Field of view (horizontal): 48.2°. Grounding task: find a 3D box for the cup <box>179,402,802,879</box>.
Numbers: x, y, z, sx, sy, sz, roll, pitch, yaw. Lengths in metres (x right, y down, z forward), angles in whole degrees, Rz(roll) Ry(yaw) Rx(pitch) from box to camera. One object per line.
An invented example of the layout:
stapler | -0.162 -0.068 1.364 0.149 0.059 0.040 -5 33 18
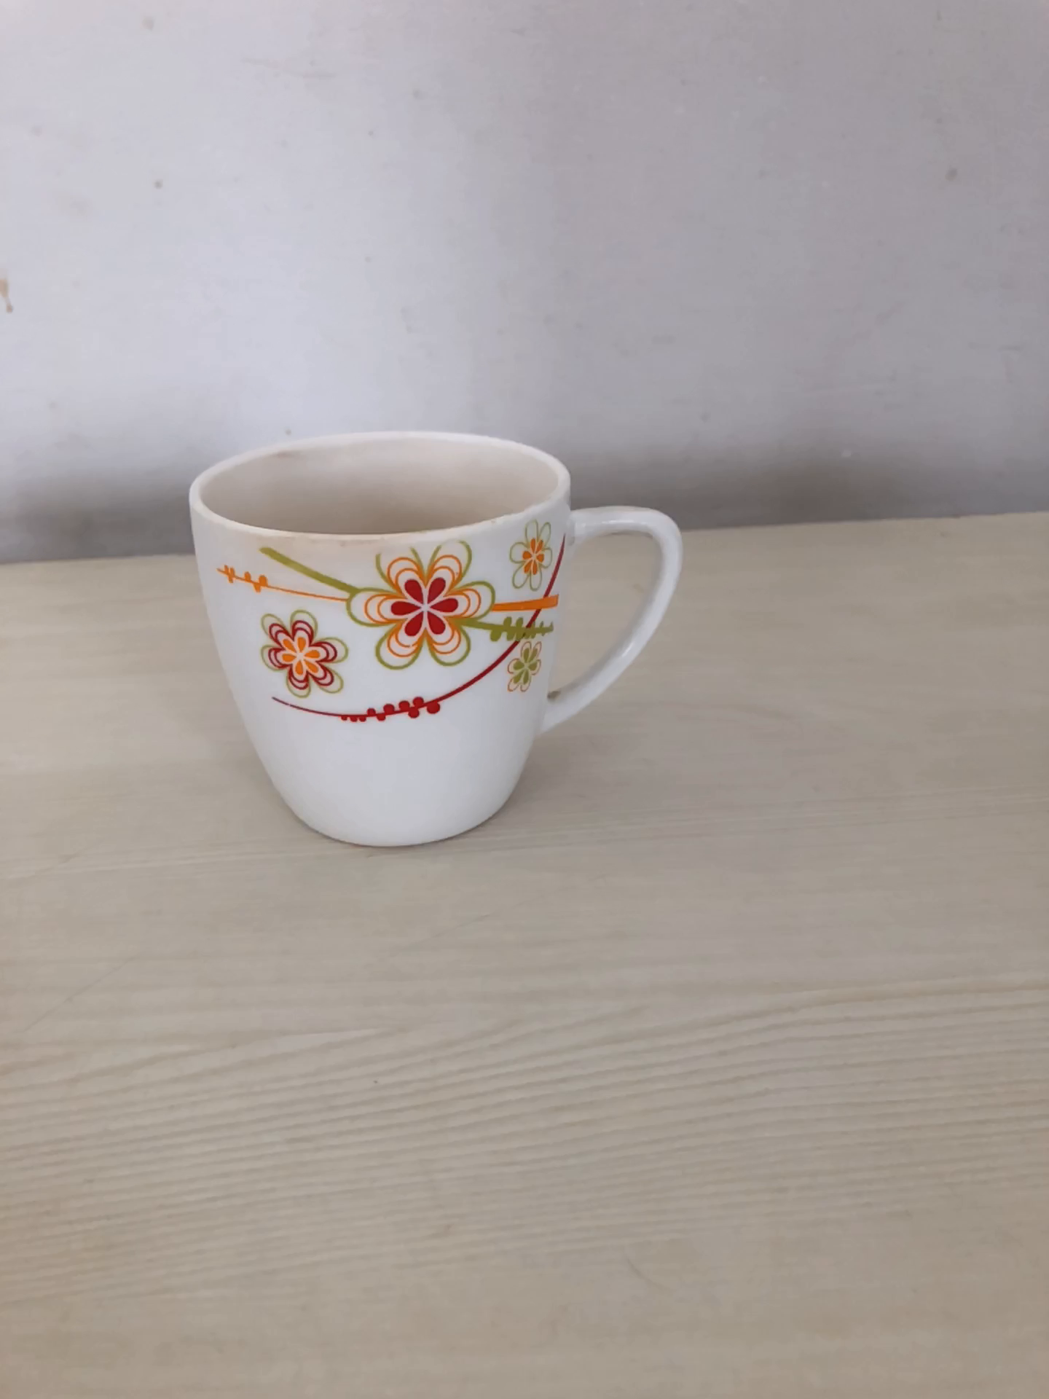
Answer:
cup | -0.010 -0.018 0.249 0.110 0.070 0.070 -6 26 -11
